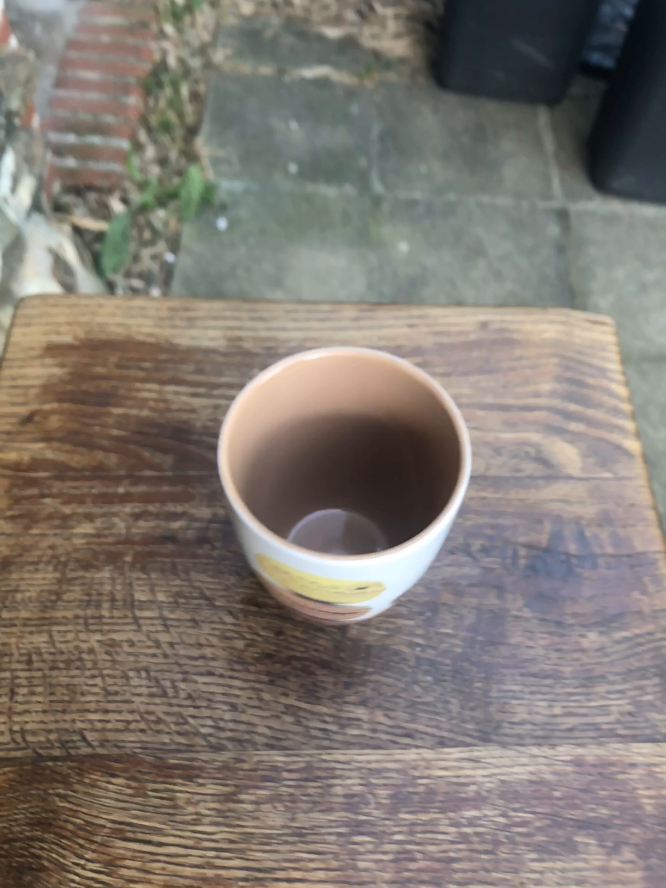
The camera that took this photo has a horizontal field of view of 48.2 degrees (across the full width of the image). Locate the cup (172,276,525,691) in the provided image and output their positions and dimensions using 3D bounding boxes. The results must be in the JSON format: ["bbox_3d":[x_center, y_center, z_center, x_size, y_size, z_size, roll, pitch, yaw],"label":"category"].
[{"bbox_3d":[-0.002,0.016,0.303,0.093,0.090,0.124,-13,62,-11],"label":"cup"}]
